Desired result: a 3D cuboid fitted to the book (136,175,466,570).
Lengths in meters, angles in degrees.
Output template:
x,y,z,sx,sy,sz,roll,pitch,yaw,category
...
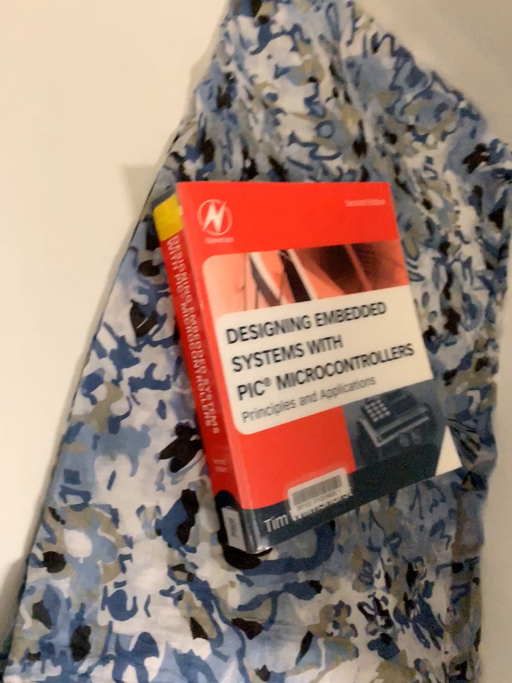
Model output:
x,y,z,sx,sy,sz,roll,pitch,yaw,category
0.044,0.003,0.389,0.211,0.050,0.237,-12,89,-33,book
